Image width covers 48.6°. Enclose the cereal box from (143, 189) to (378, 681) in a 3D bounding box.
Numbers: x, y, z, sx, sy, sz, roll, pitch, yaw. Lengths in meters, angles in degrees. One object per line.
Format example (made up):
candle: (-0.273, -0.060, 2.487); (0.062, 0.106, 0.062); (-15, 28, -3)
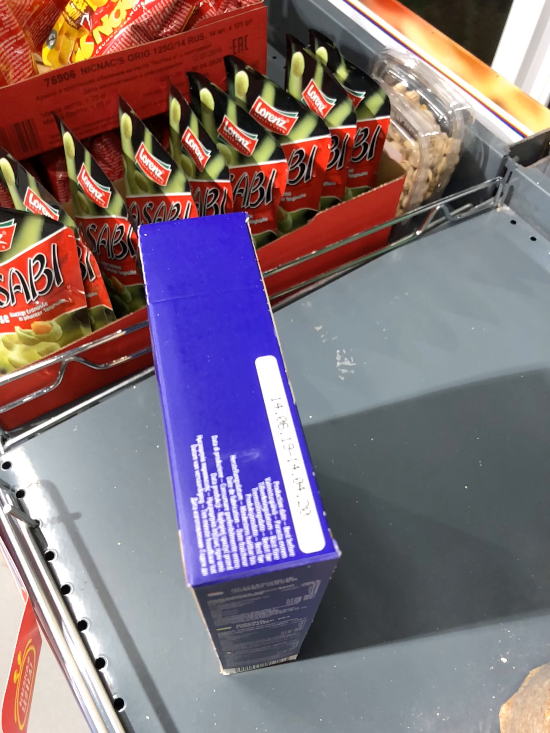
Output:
cereal box: (-0.016, 0.056, 0.300); (0.050, 0.229, 0.151); (-9, 59, -8)
